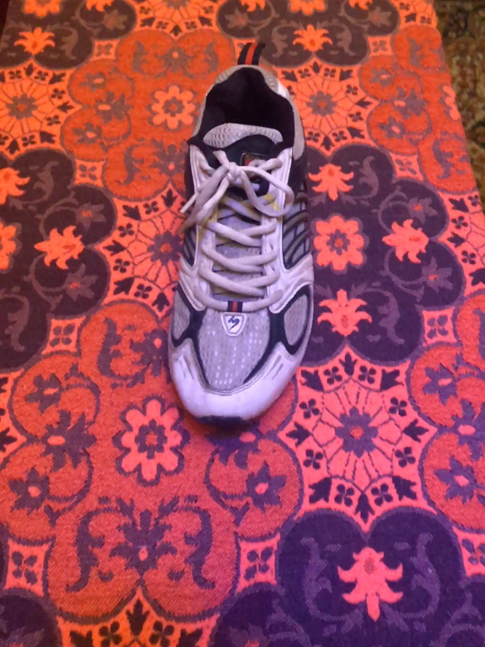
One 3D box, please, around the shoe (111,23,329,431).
[{"bbox_3d":[-0.009,-0.081,0.413,0.120,0.110,0.301,1,64,1],"label":"shoe"}]
